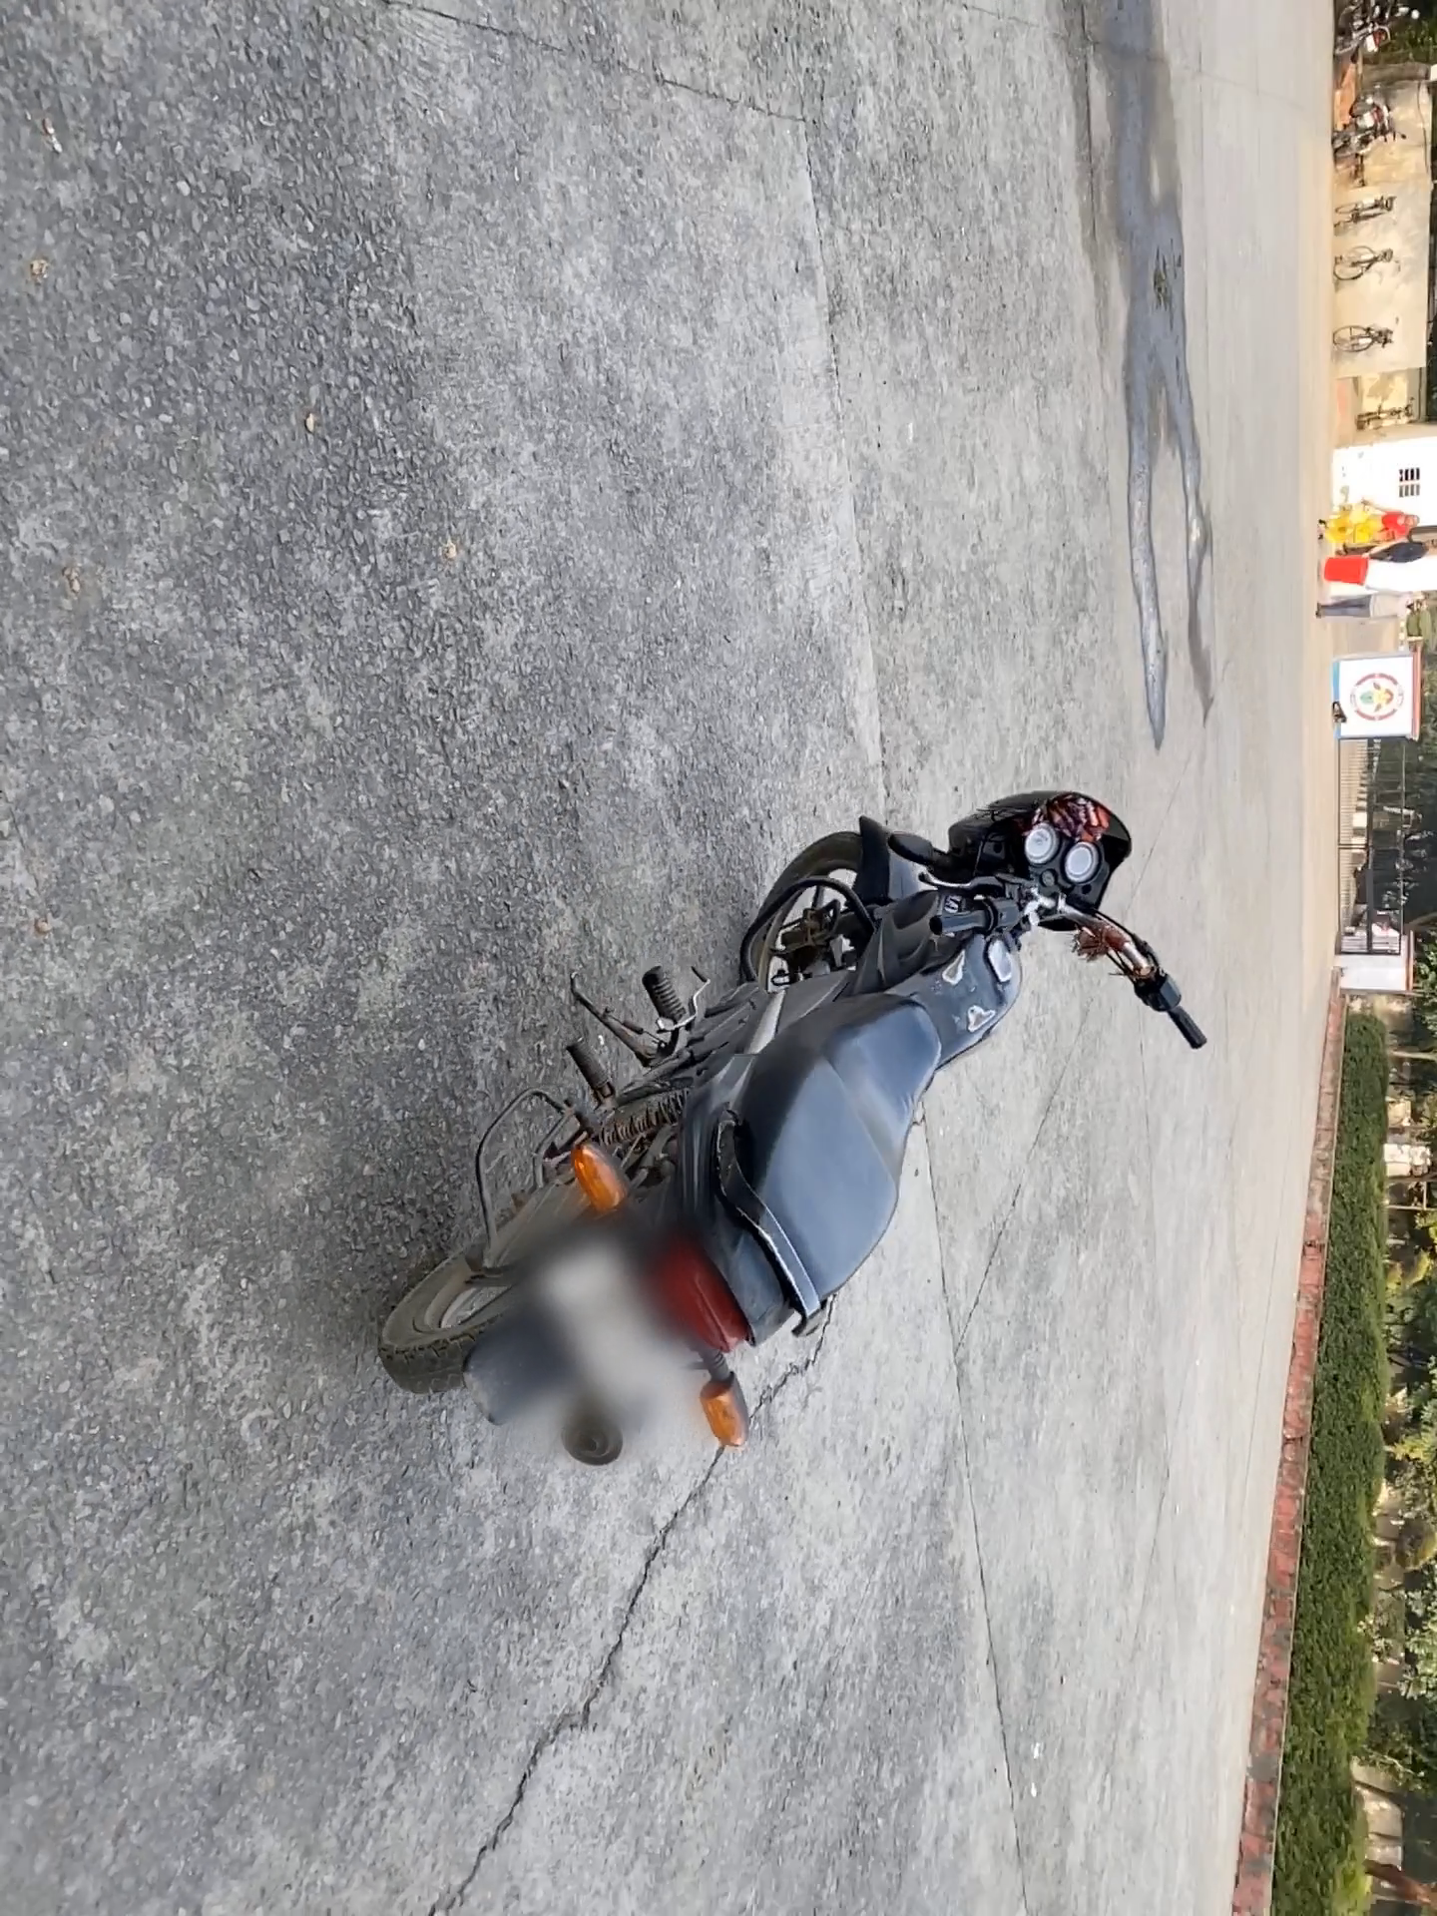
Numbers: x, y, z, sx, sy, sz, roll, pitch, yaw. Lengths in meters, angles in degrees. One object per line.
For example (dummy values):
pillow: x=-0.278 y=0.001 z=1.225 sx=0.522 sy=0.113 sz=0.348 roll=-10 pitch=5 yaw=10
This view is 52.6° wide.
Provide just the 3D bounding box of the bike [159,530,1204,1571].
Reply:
bike: x=0.160 y=-0.071 z=2.454 sx=1.744 sy=1.078 sz=0.772 roll=-51 pitch=136 yaw=-54
